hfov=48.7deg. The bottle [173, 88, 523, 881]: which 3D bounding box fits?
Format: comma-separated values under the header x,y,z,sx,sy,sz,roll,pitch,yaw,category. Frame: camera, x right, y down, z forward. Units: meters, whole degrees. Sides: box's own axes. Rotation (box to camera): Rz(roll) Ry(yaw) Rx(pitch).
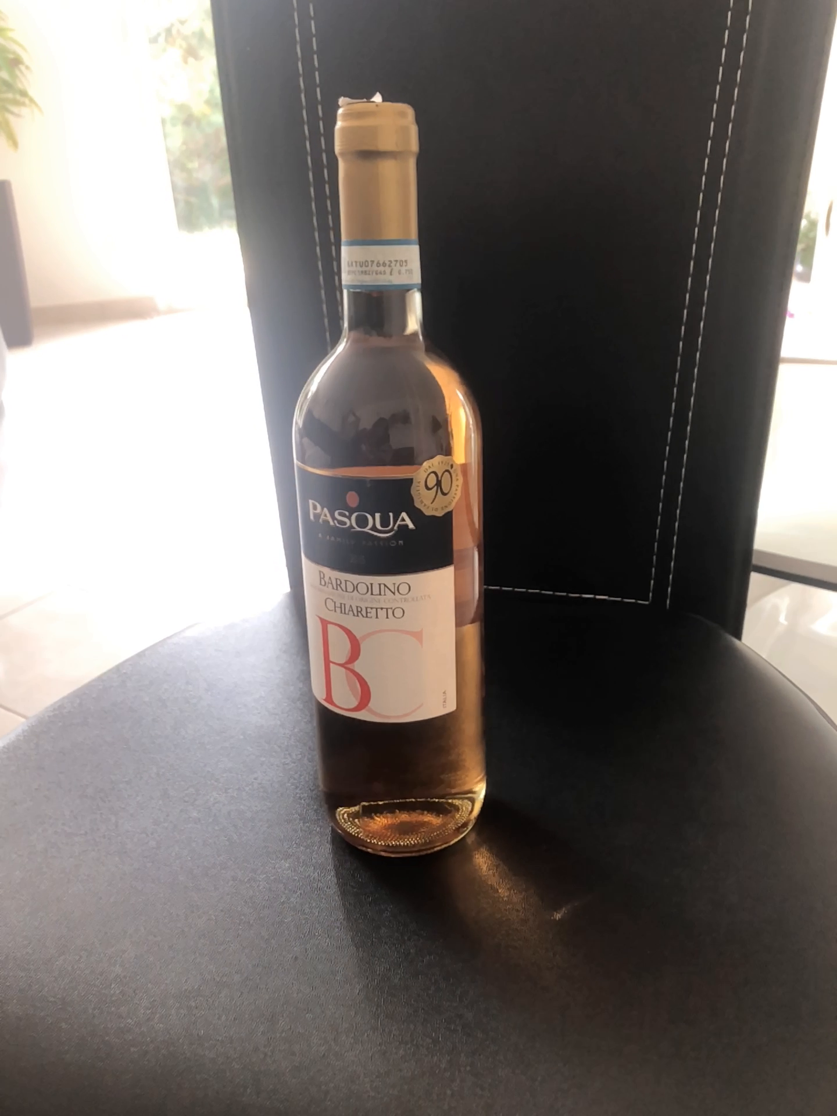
x,y,z,sx,sy,sz,roll,pitch,yaw,category
-0.014,-0.022,0.356,0.080,0.278,0.080,-2,25,1,bottle
